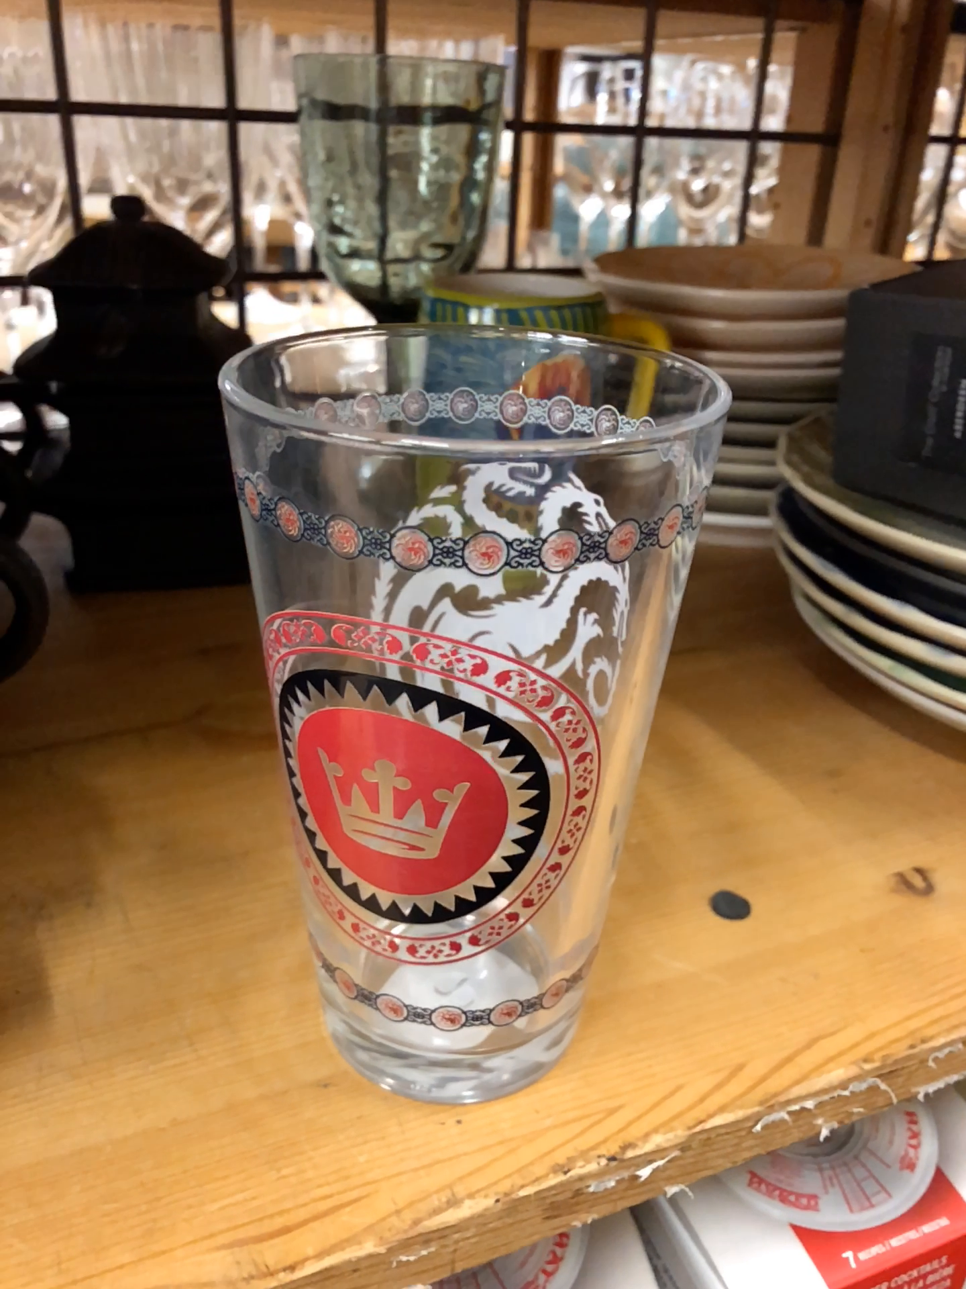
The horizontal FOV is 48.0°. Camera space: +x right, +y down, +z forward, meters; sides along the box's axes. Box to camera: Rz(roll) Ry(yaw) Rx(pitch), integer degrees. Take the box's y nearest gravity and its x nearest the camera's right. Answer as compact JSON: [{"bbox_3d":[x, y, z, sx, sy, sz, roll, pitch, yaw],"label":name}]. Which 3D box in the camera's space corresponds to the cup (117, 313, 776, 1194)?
[{"bbox_3d":[-0.002,0.013,0.213,0.085,0.132,0.084,2,26,-1],"label":"cup"}]
